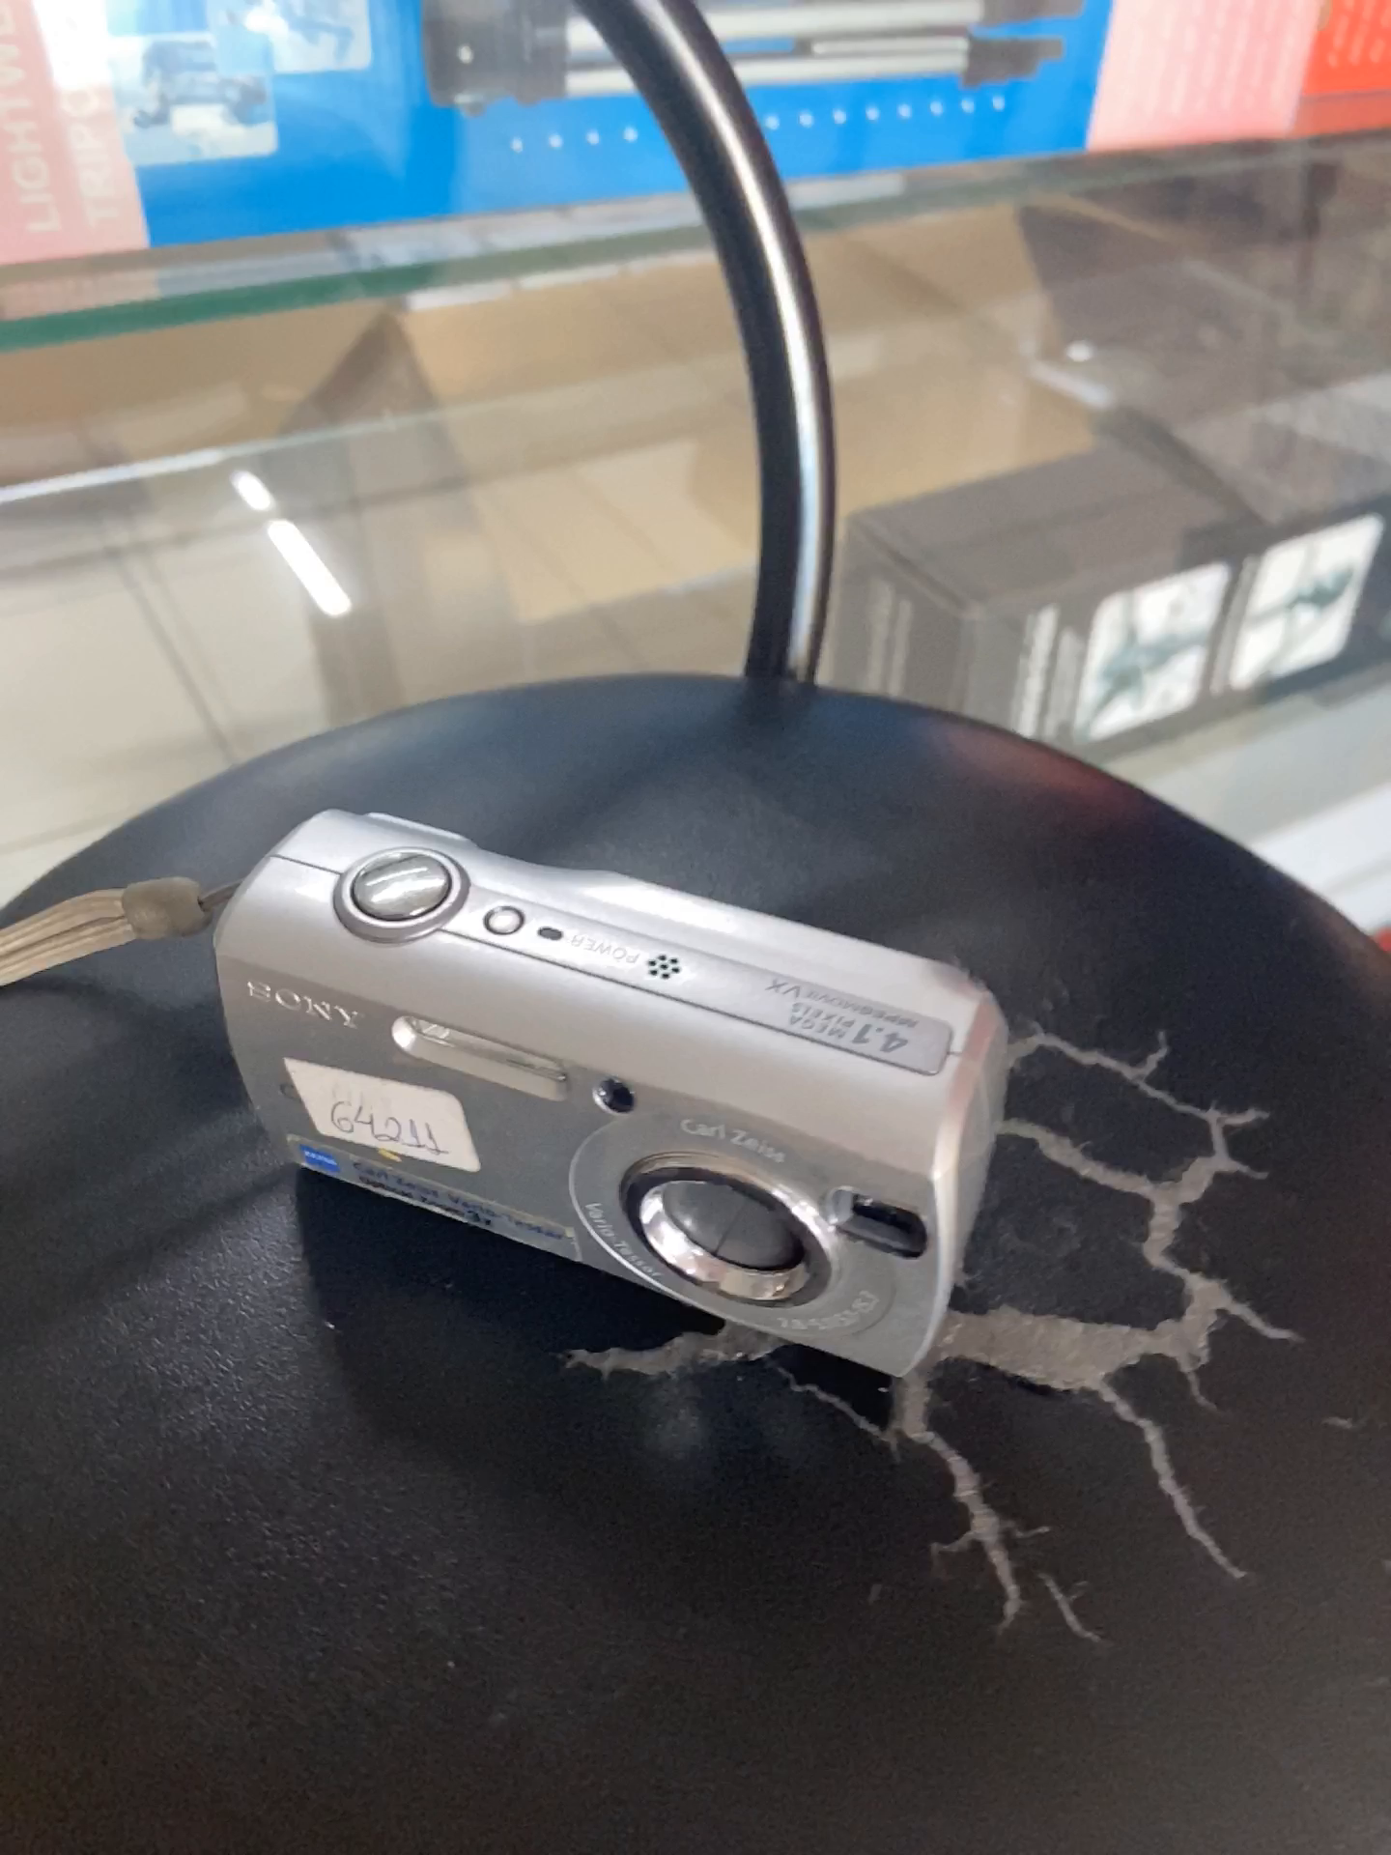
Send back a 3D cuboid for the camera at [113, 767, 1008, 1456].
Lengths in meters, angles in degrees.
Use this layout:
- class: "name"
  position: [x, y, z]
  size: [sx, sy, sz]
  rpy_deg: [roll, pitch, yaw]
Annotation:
- class: "camera"
  position: [-0.017, 0.022, 0.192]
  size: [0.100, 0.050, 0.040]
  rpy_deg: [16, 45, 15]
